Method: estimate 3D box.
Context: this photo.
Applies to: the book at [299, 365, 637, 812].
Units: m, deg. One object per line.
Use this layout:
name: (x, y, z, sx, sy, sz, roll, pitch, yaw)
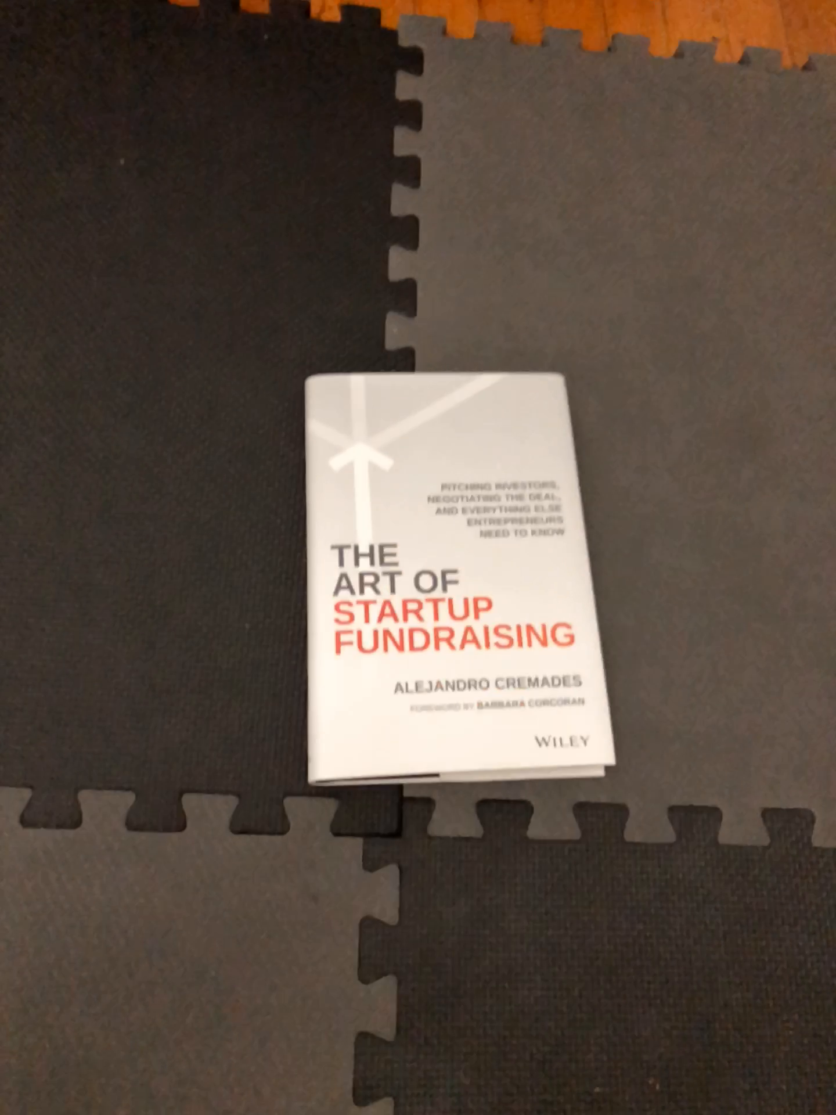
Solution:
book: (0.021, 0.010, 0.520, 0.170, 0.030, 0.251, 0, 68, -6)
